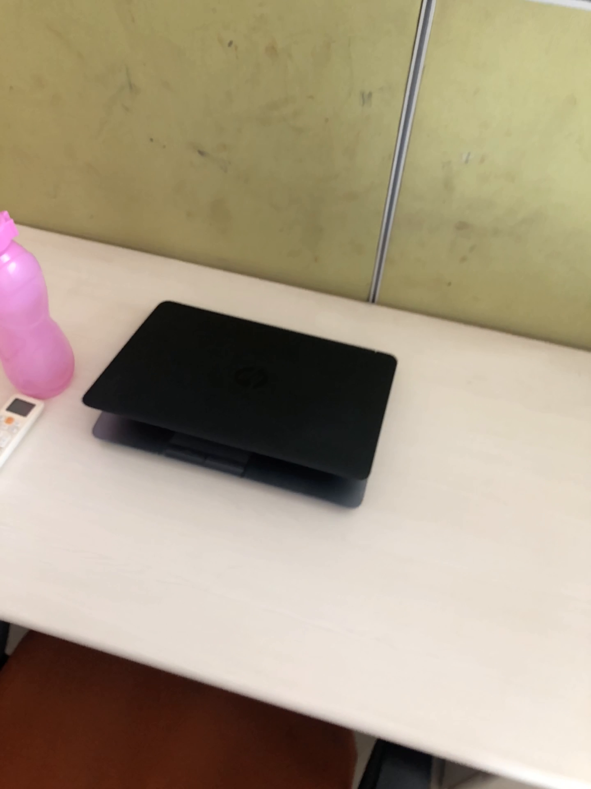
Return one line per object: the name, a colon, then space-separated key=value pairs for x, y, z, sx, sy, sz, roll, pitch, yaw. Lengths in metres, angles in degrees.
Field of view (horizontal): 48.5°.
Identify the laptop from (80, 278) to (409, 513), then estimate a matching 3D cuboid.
laptop: x=-0.052 y=-0.011 z=0.802 sx=0.330 sy=0.050 sz=0.227 roll=15 pitch=56 yaw=9
